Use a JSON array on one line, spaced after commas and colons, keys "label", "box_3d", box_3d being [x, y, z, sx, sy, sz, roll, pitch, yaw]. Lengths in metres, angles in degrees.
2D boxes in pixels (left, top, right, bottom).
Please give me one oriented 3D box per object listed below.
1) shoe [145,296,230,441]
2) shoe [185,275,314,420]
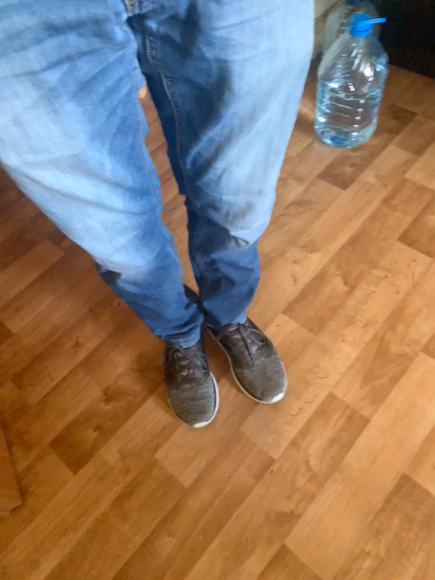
[{"label": "shoe", "box_3d": [-0.069, 0.170, 0.992, 0.124, 0.100, 0.281, -15, 57, -1]}, {"label": "shoe", "box_3d": [0.066, 0.122, 1.005, 0.134, 0.100, 0.291, -33, 59, -13]}]
